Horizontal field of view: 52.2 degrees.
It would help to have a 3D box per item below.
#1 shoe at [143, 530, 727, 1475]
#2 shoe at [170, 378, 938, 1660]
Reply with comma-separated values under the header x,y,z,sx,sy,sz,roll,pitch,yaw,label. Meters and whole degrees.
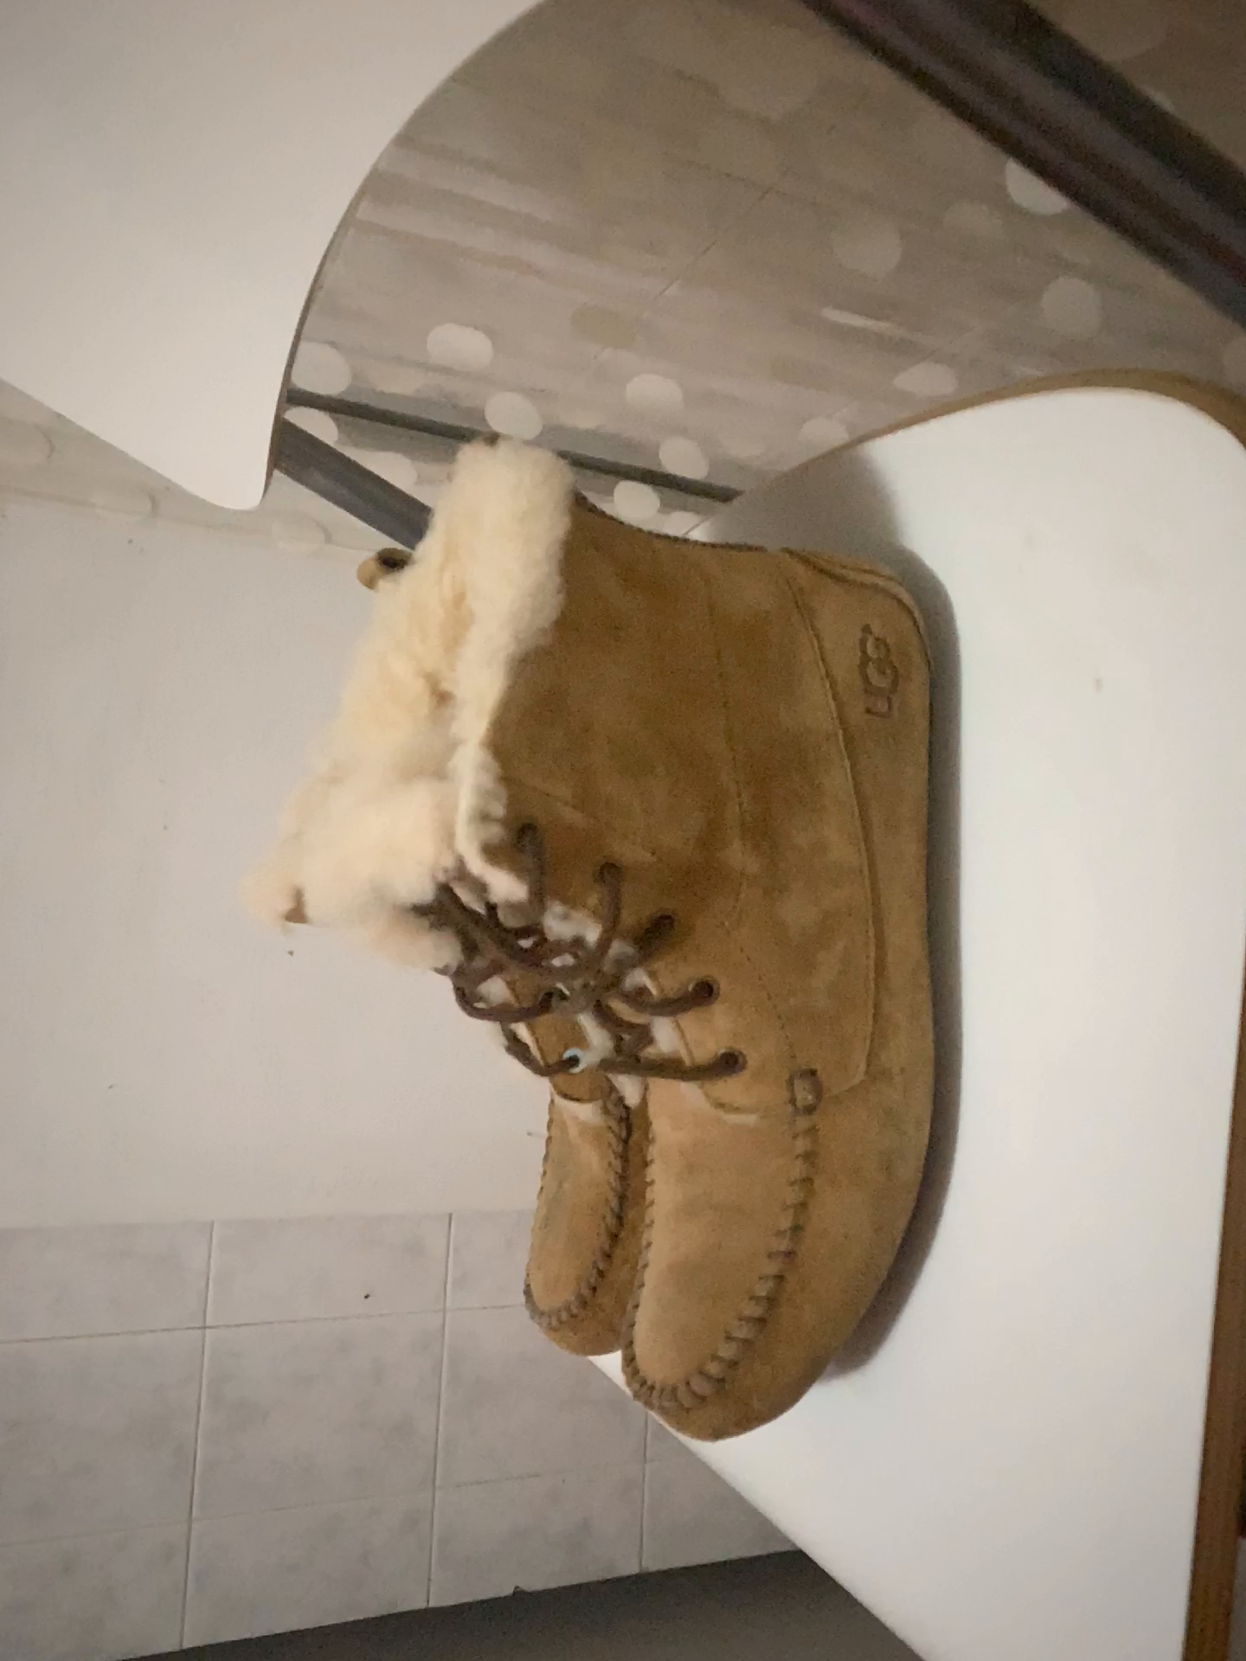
x,y,z,sx,sy,sz,roll,pitch,yaw,label
-0.062,0.052,0.420,0.107,0.155,0.251,164,110,-65,shoe
-0.020,0.043,0.329,0.114,0.156,0.251,164,110,-65,shoe
